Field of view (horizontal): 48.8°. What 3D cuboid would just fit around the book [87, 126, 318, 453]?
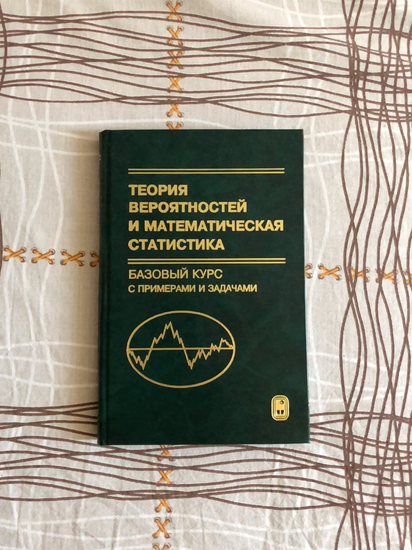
[{"bbox_3d":[-0.002,0.008,0.317,0.150,0.030,0.217,0,86,0],"label":"book"}]
